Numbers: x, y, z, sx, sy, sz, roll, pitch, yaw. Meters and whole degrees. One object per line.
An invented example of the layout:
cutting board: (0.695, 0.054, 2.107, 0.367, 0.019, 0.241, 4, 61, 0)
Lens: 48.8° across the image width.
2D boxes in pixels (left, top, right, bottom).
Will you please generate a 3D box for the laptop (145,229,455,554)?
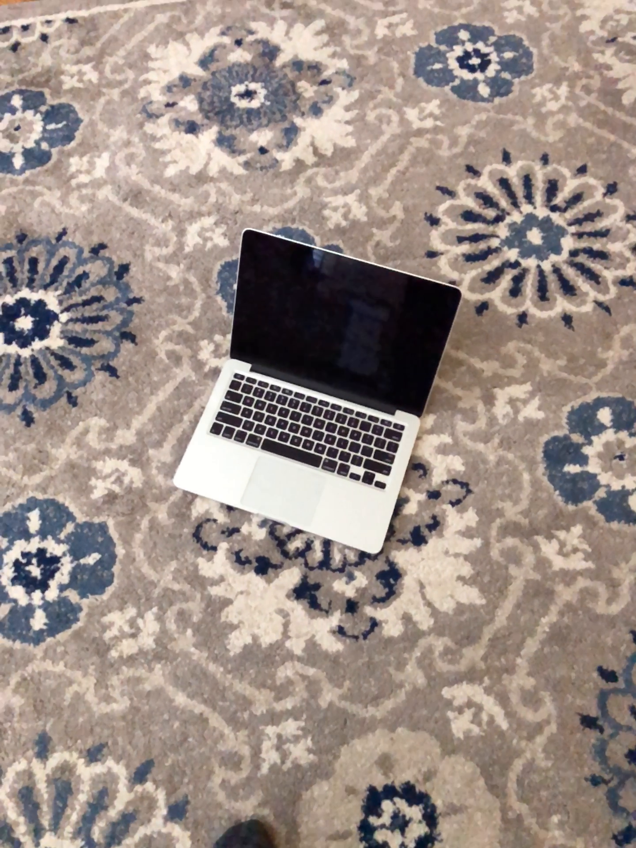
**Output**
laptop: (-0.011, -0.044, 0.945, 0.300, 0.171, 0.322, 17, 67, 6)
